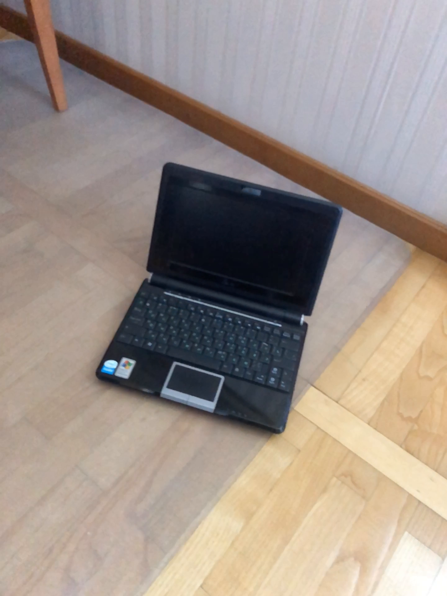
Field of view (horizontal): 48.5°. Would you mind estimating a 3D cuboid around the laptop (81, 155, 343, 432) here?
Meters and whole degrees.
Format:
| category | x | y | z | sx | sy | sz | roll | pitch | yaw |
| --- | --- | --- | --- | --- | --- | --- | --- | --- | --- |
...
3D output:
| category | x | y | z | sx | sy | sz | roll | pitch | yaw |
| --- | --- | --- | --- | --- | --- | --- | --- | --- | --- |
| laptop | -0.003 | -0.017 | 0.684 | 0.263 | 0.159 | 0.278 | 16 | 51 | 6 |
